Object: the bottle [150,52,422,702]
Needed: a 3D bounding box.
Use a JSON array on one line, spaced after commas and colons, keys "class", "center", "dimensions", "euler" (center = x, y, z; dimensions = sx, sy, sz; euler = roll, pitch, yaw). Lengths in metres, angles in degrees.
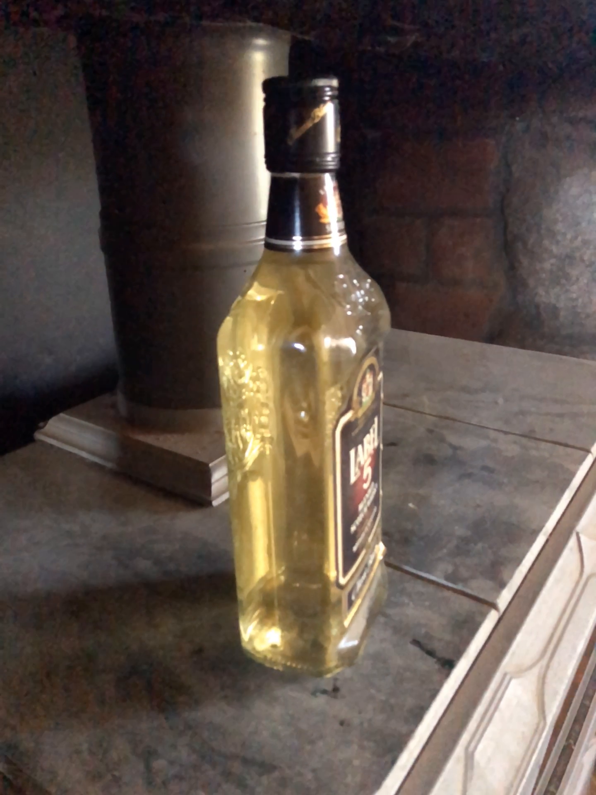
[{"class": "bottle", "center": [0.008, -0.008, 0.291], "dimensions": [0.060, 0.249, 0.111], "euler": [8, 25, 23]}]
